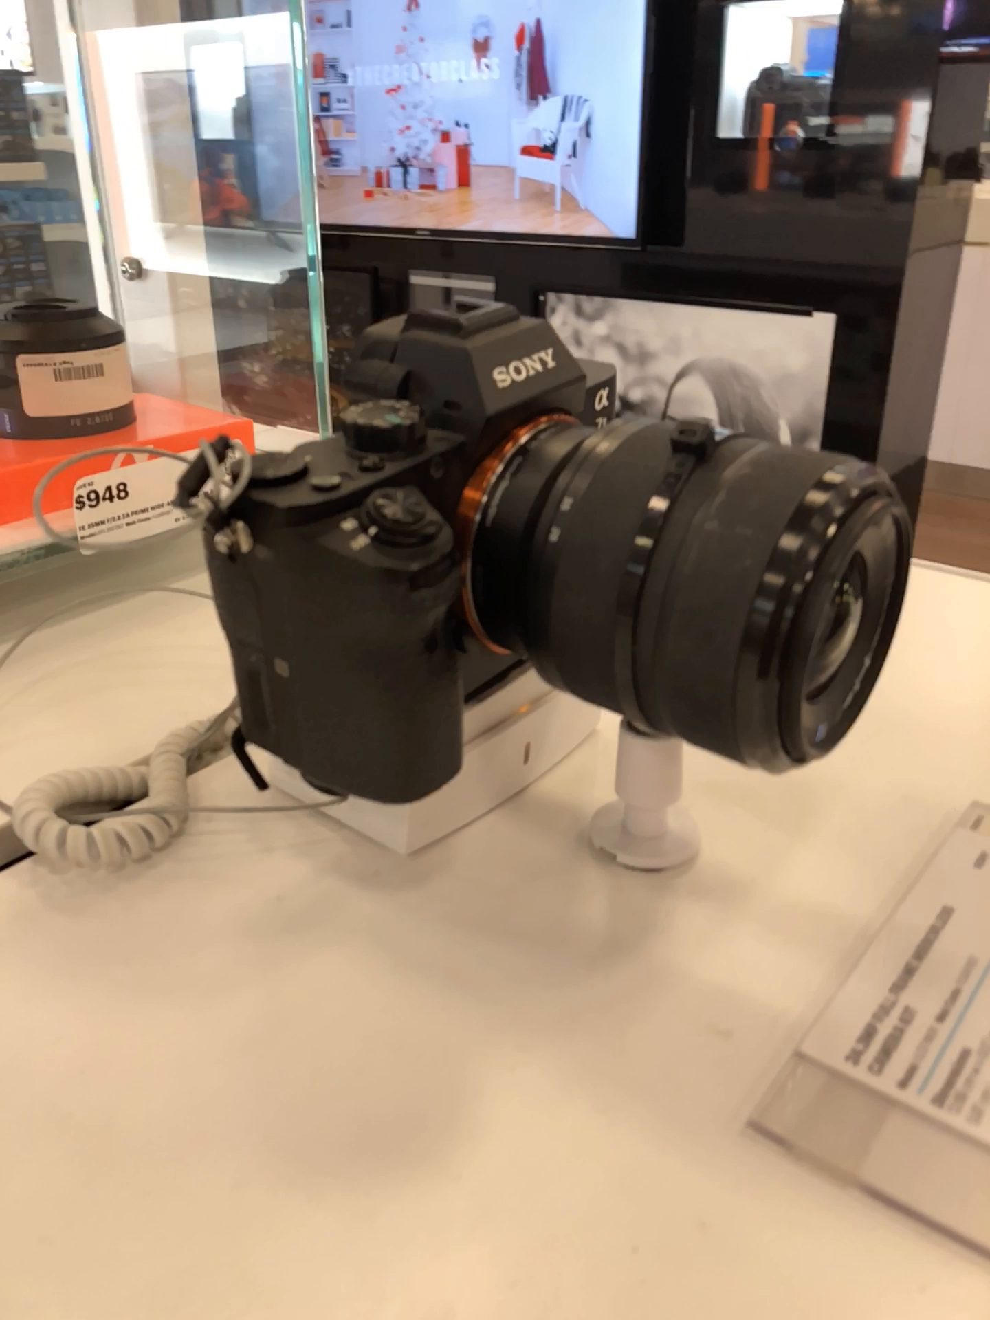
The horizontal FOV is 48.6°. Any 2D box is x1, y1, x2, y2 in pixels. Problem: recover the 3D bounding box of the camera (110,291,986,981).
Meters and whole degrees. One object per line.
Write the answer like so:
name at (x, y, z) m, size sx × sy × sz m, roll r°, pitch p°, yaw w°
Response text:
camera at (0.018, -0.028, 0.273) m, size 0.150 × 0.100 × 0.140 m, roll 16°, pitch 29°, yaw 31°
